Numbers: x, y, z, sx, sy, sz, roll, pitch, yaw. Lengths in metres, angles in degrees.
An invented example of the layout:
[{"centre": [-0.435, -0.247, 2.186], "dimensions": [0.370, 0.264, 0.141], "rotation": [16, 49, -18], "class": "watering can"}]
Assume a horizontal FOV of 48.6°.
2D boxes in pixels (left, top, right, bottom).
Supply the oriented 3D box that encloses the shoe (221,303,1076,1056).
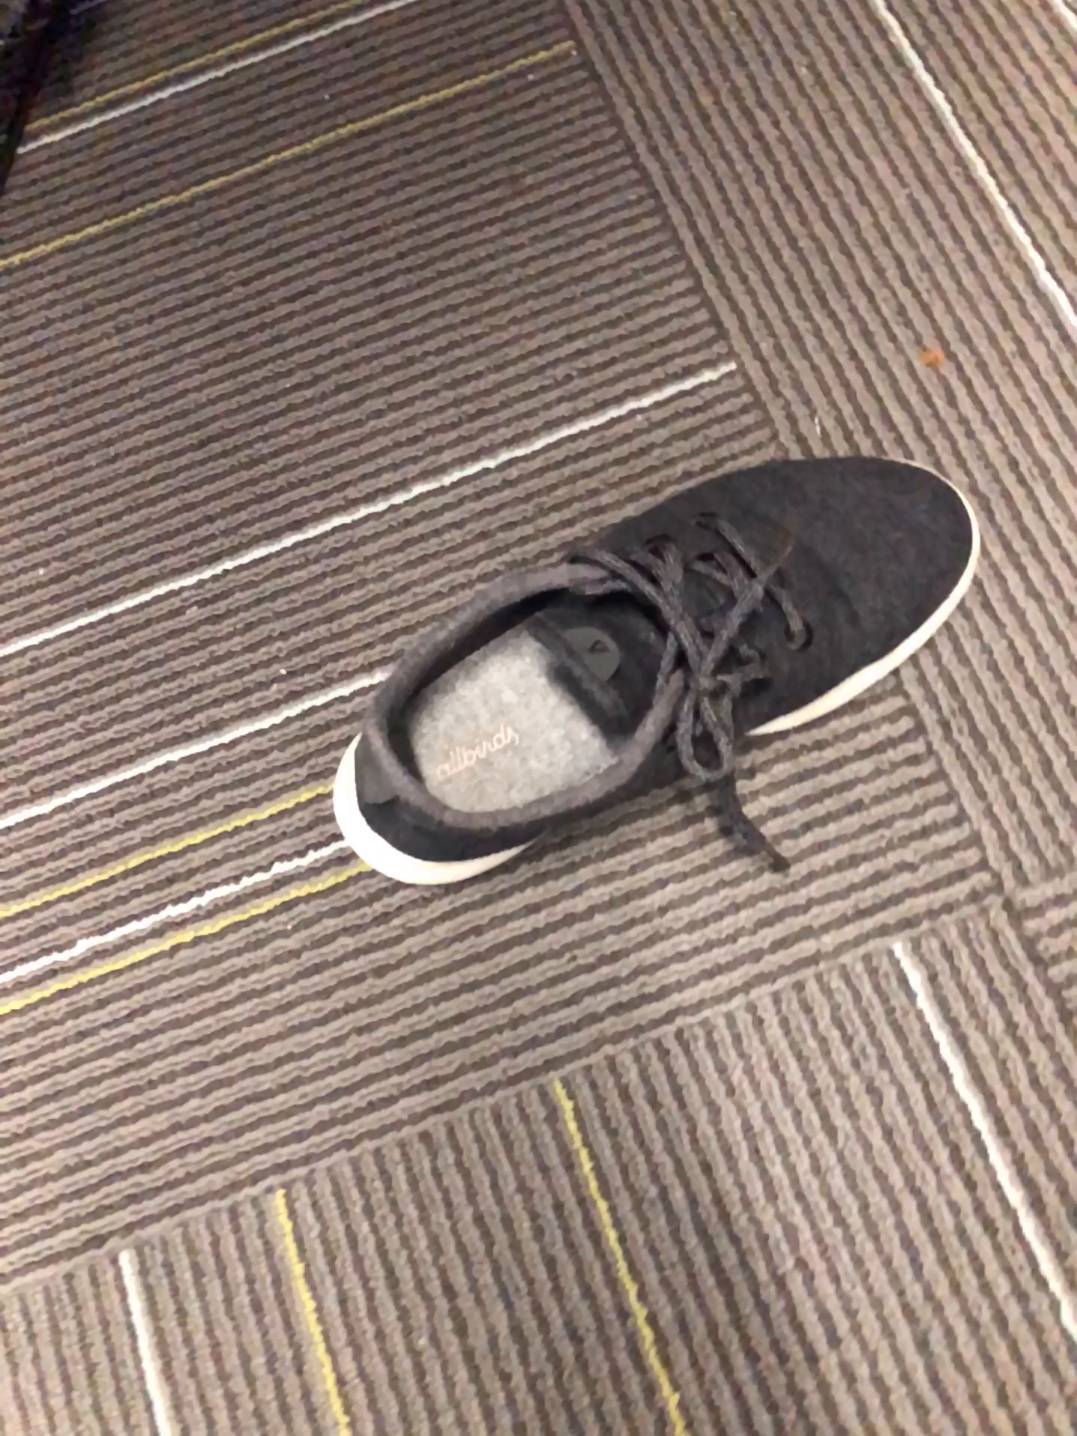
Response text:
[{"centre": [0.047, -0.014, 0.430], "dimensions": [0.280, 0.060, 0.140], "rotation": [-30, 72, -3], "class": "shoe"}]
